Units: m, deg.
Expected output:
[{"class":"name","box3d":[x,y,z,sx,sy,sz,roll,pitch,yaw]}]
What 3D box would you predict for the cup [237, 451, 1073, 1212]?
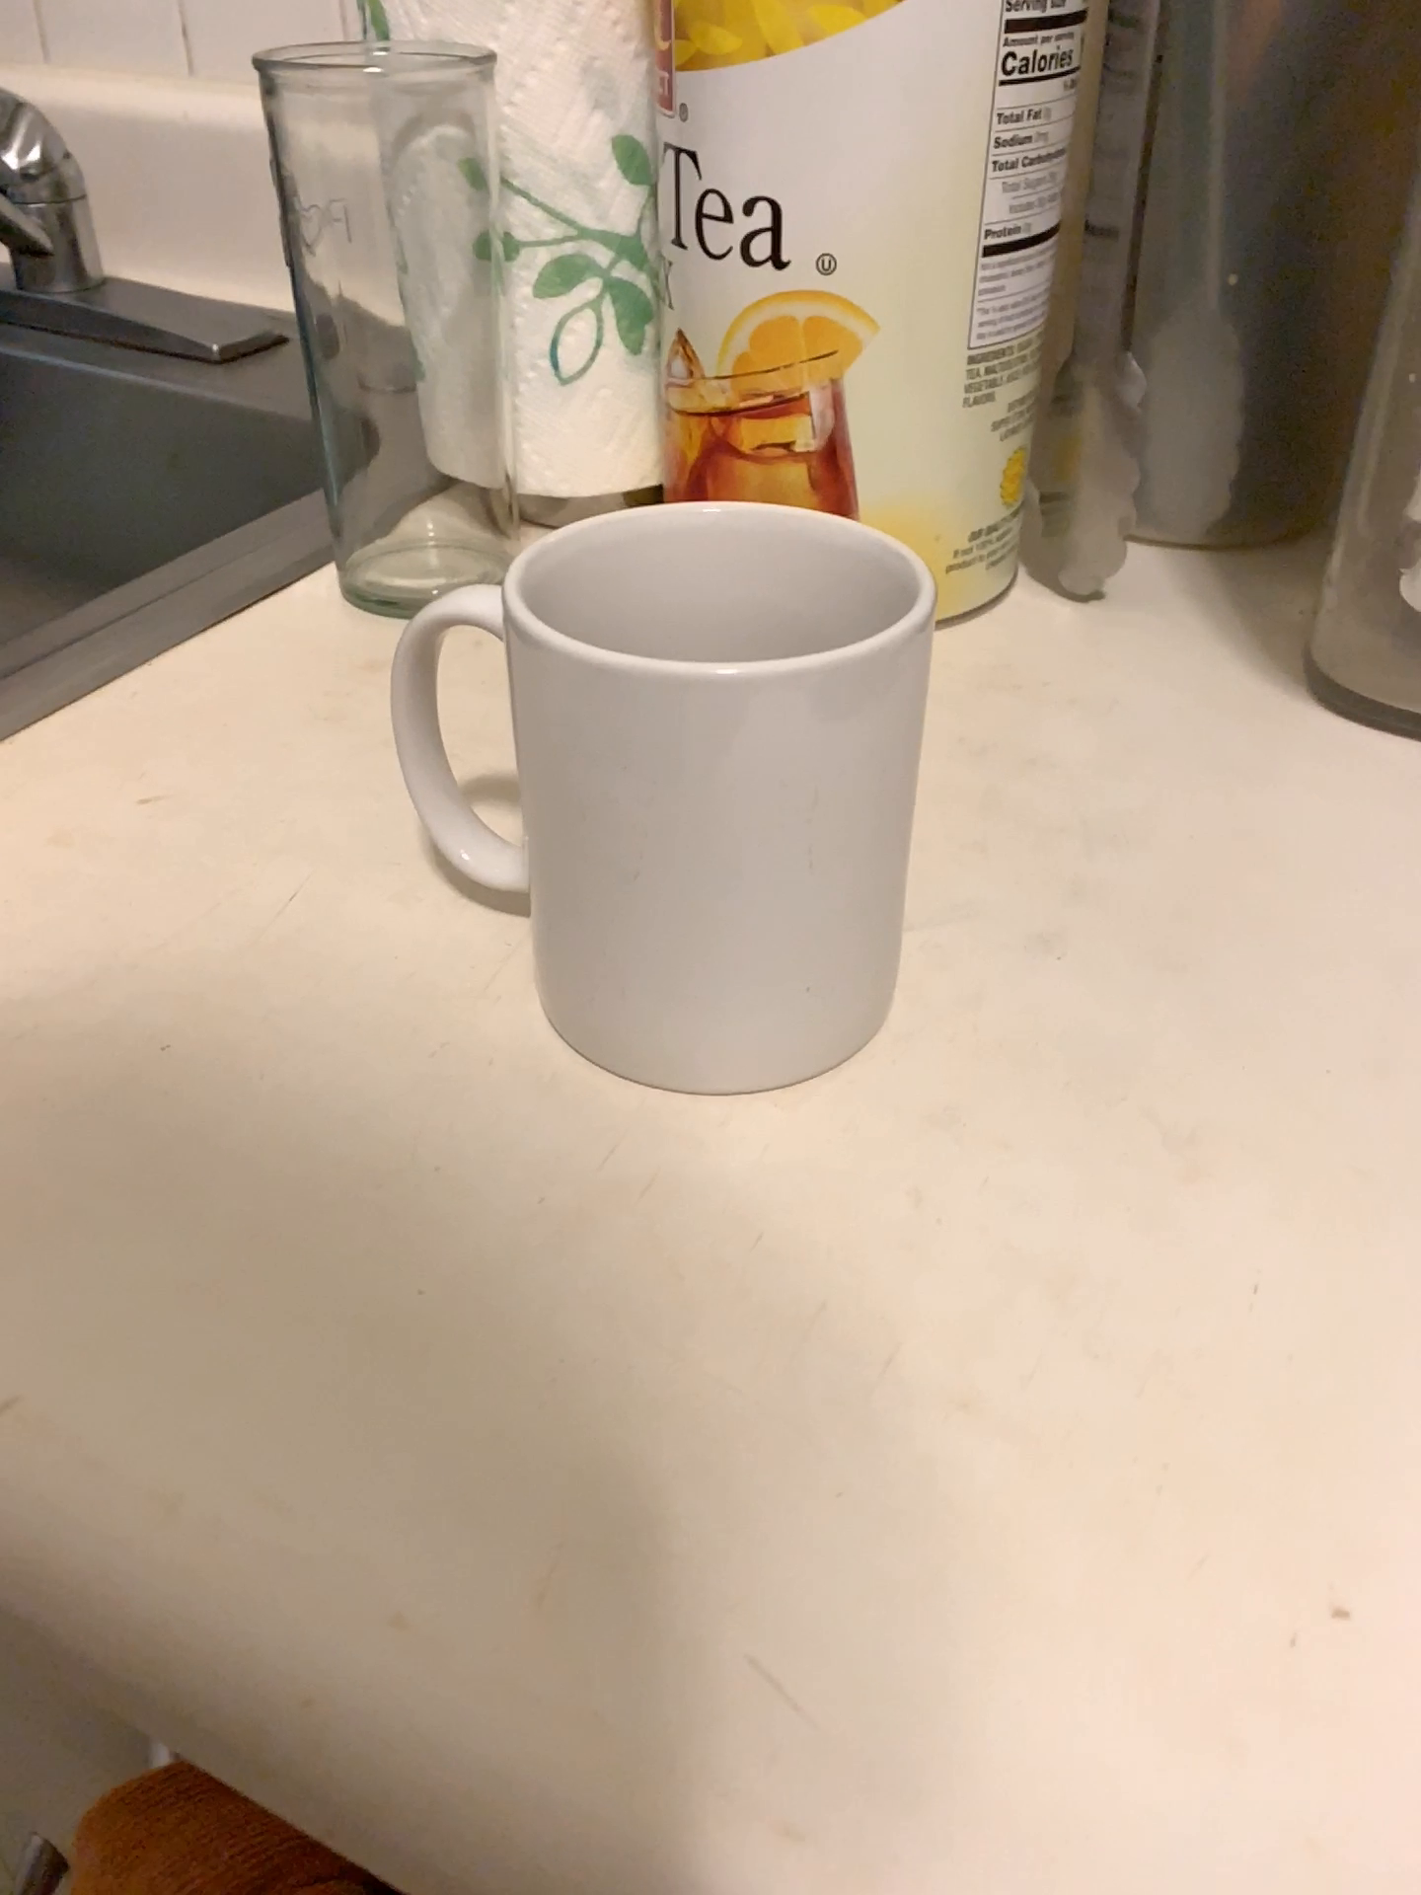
[{"class":"cup","box3d":[-0.007,-0.030,0.318,0.140,0.109,0.090,13,38,15]}]
